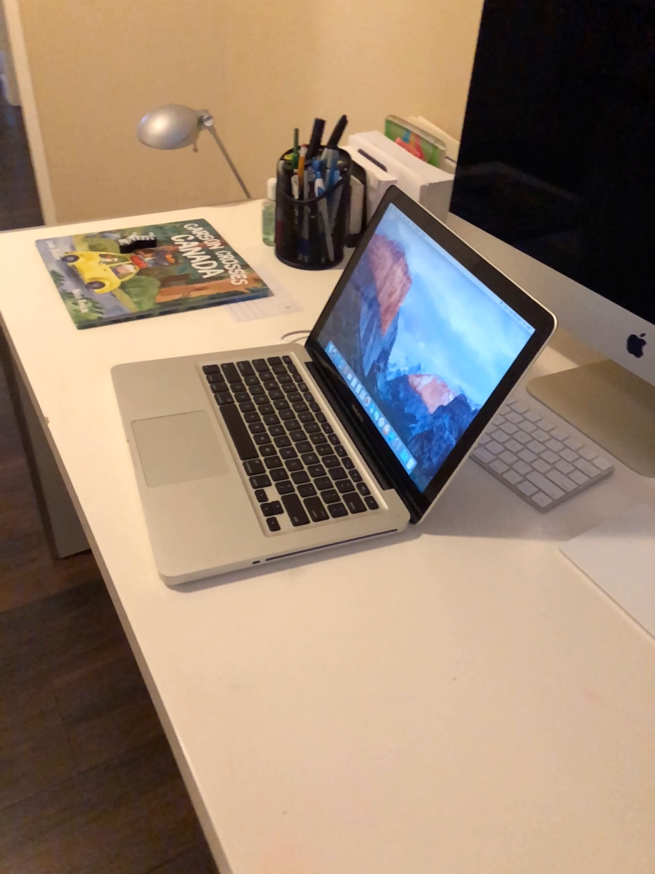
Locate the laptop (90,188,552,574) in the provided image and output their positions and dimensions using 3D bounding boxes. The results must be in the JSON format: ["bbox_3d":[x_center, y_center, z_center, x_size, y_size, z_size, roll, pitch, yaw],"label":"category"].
[{"bbox_3d":[-0.031,-0.079,0.672,0.312,0.187,0.304,-10,40,-18],"label":"laptop"}]
